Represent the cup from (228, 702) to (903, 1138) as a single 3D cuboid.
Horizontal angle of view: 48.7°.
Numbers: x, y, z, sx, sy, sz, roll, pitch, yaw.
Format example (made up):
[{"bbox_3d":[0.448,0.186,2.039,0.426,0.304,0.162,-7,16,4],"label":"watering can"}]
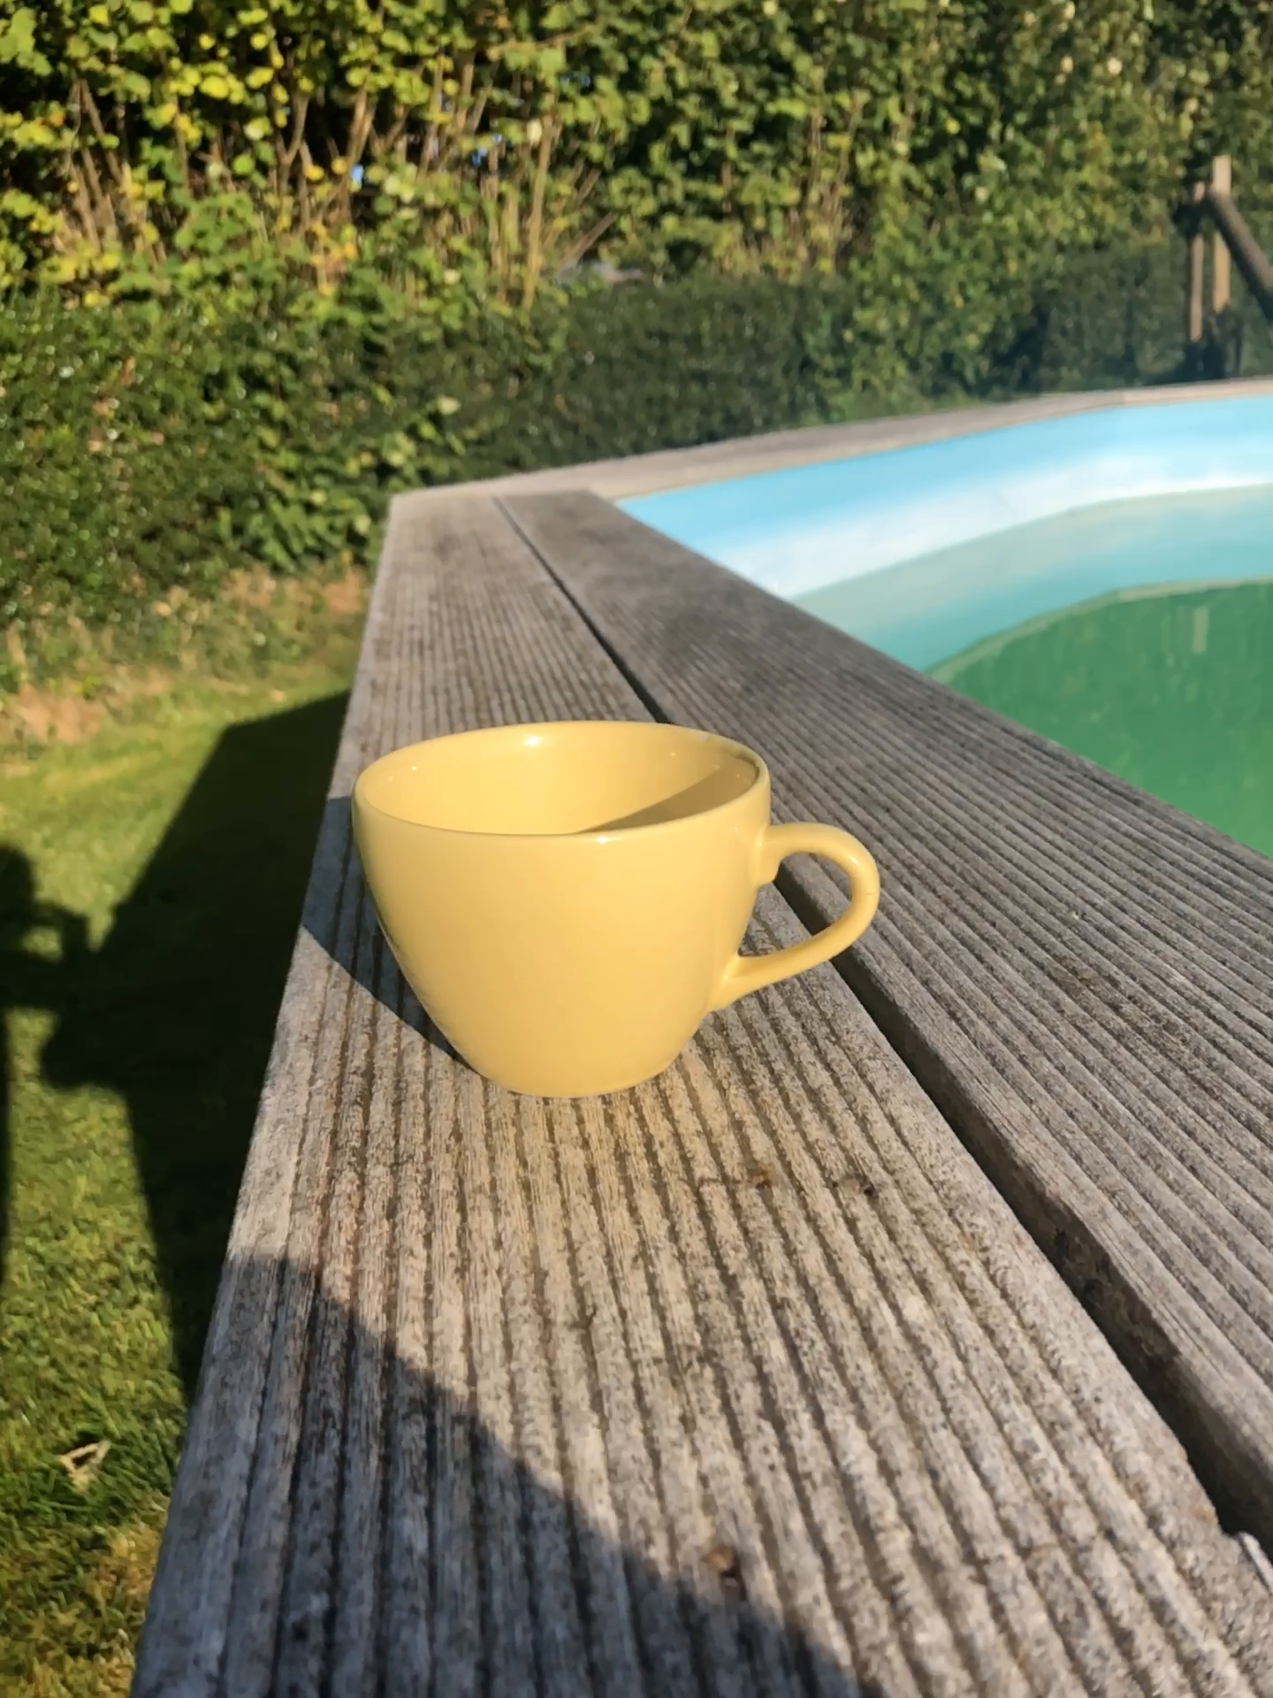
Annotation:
[{"bbox_3d":[-0.009,0.007,0.296,0.112,0.053,0.089,4,20,21],"label":"cup"}]
